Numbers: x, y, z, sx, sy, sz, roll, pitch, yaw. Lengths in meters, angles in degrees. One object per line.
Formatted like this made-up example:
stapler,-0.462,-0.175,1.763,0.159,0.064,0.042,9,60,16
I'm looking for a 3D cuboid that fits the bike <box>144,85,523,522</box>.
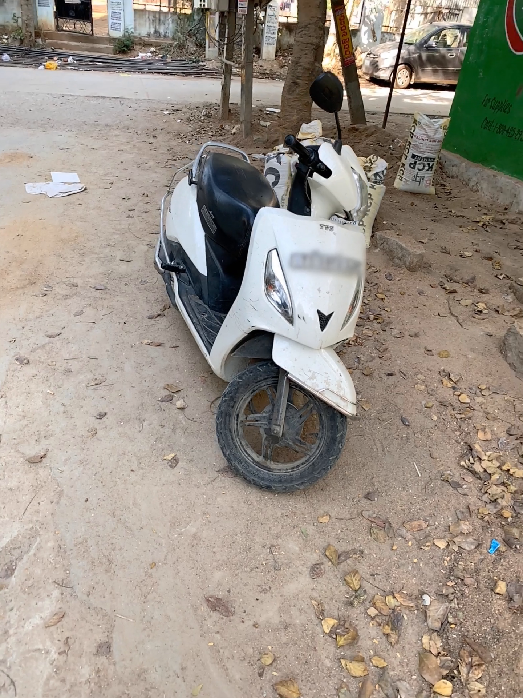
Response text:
bike,0.086,-0.325,2.153,0.686,1.066,1.465,-10,37,-25
